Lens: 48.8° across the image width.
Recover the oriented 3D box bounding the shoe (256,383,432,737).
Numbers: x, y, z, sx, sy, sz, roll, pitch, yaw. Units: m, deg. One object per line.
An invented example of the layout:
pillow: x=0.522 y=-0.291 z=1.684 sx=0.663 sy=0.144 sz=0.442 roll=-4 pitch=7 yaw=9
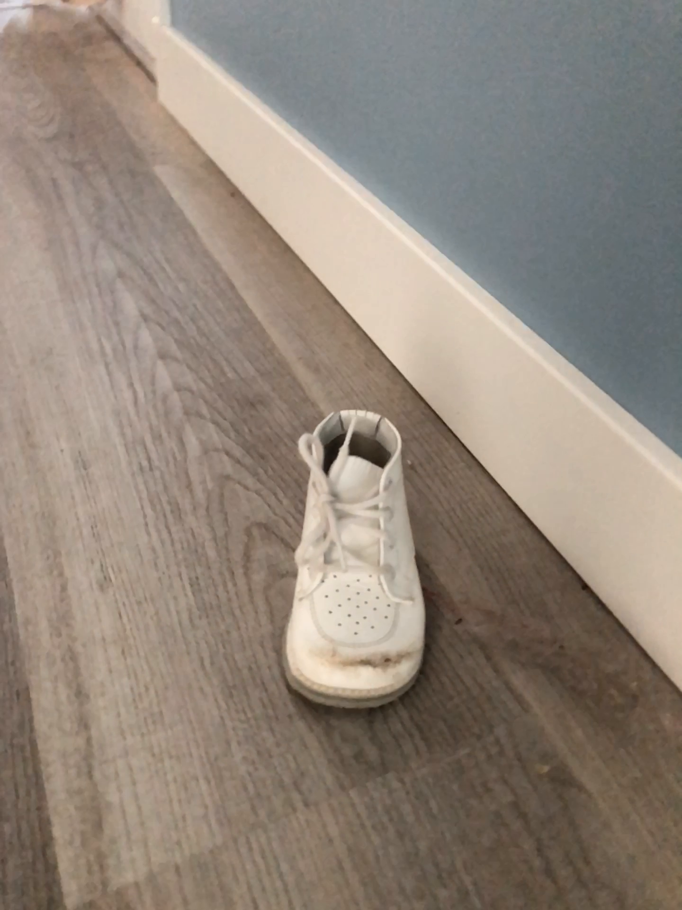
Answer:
shoe: x=0.002 y=0.037 z=0.332 sx=0.060 sy=0.060 sz=0.151 roll=4 pitch=40 yaw=-1
